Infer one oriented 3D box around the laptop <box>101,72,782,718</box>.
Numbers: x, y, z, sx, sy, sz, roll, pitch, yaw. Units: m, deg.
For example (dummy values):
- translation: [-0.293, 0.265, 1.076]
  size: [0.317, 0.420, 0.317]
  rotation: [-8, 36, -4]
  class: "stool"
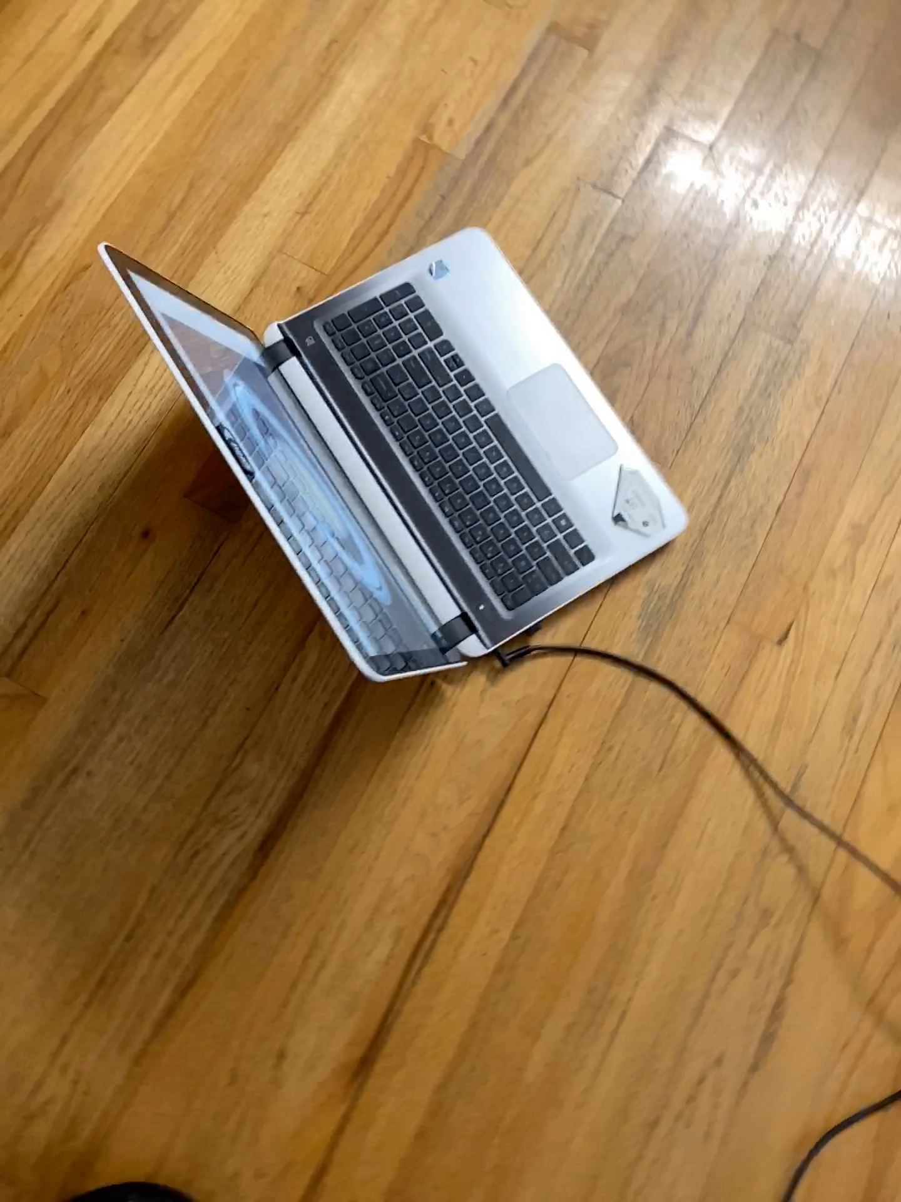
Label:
- translation: [-0.011, -0.166, 0.775]
  size: [0.363, 0.202, 0.371]
  rotation: [-31, 79, -13]
  class: "laptop"
